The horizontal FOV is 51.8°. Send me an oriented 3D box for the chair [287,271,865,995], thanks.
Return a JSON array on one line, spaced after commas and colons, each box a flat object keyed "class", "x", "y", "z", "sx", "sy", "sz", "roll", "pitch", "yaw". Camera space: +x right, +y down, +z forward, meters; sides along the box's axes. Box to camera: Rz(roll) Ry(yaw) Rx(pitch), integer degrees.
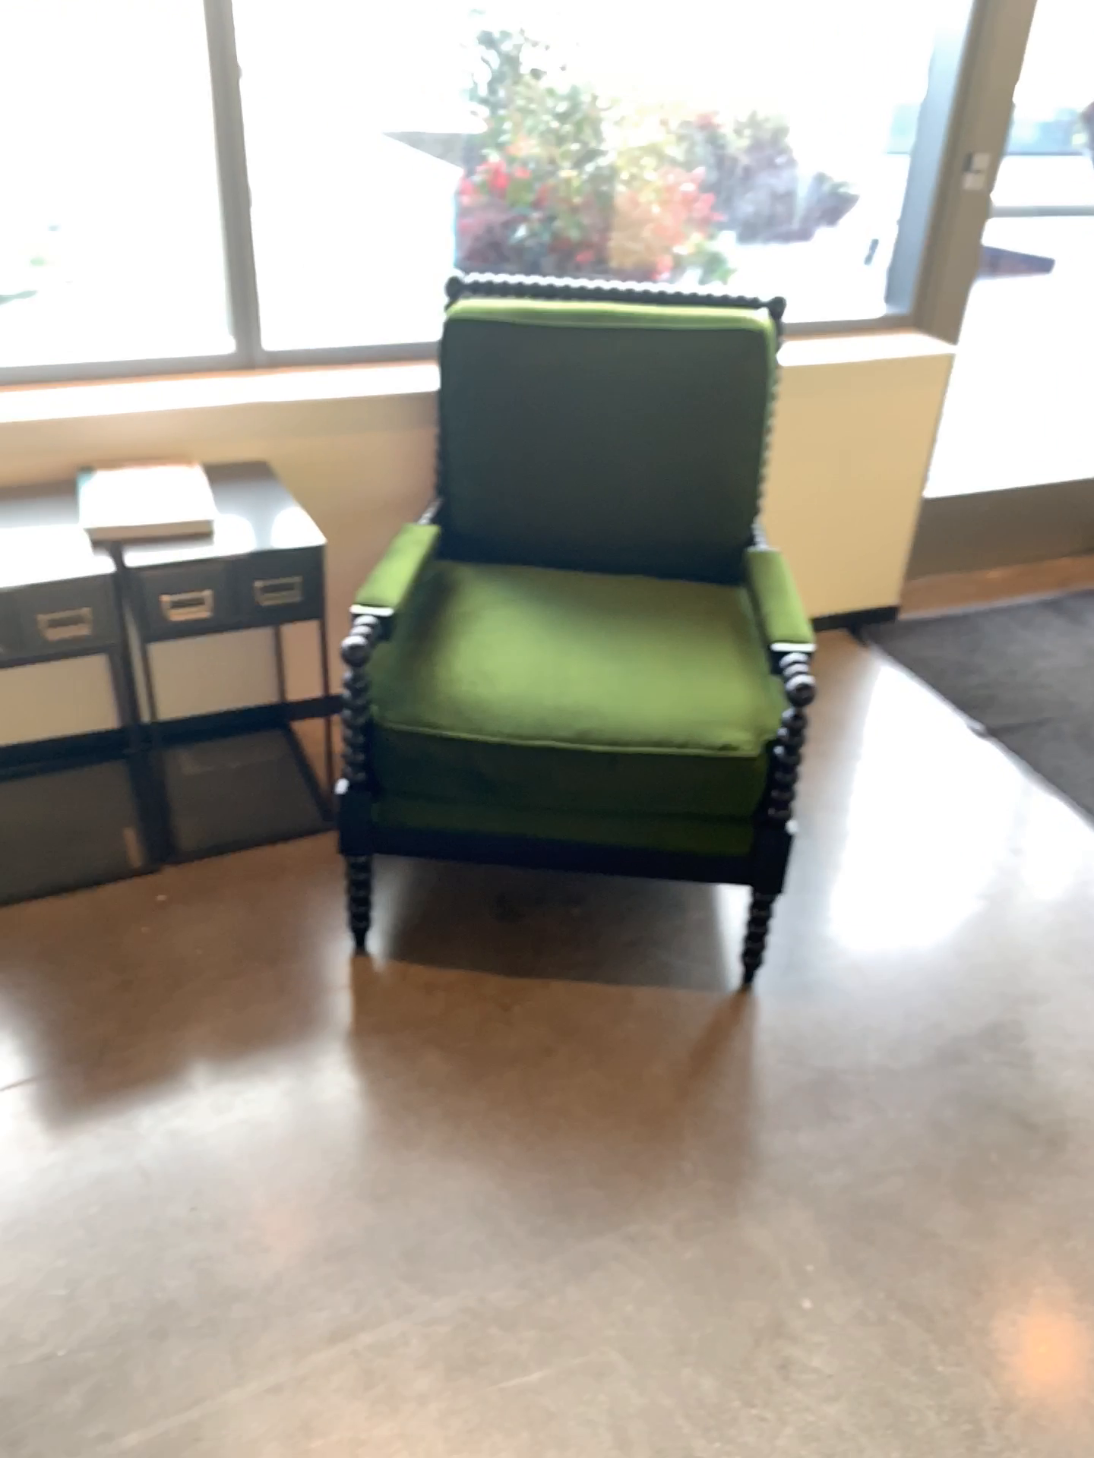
[{"class": "chair", "x": 0.054, "y": -0.229, "z": 2.130, "sx": 0.760, "sy": 0.984, "sz": 0.926, "roll": 5, "pitch": 33, "yaw": 3}]
